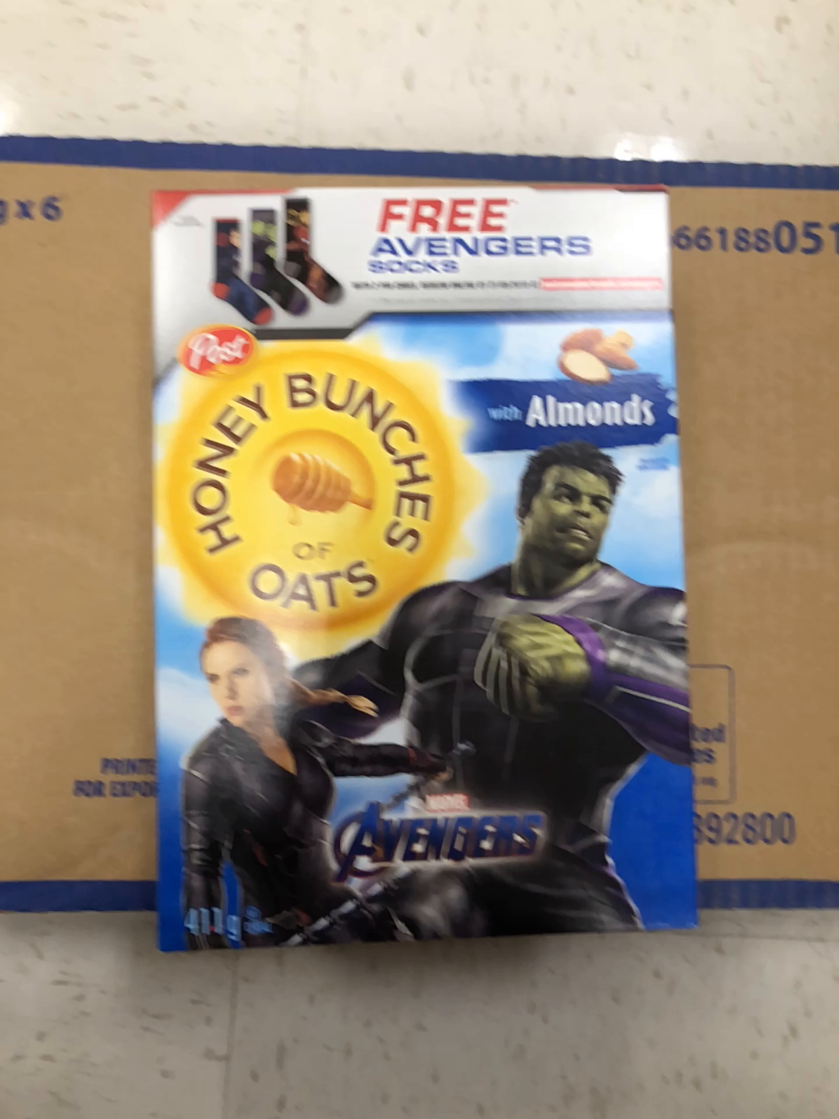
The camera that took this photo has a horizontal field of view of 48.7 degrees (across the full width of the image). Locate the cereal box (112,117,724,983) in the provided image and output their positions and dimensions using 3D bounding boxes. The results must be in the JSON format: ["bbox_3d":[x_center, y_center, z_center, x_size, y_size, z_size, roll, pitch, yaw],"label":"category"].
[{"bbox_3d":[-0.003,-0.007,0.350,0.200,0.070,0.290,-2,87,-3],"label":"cereal box"}]
